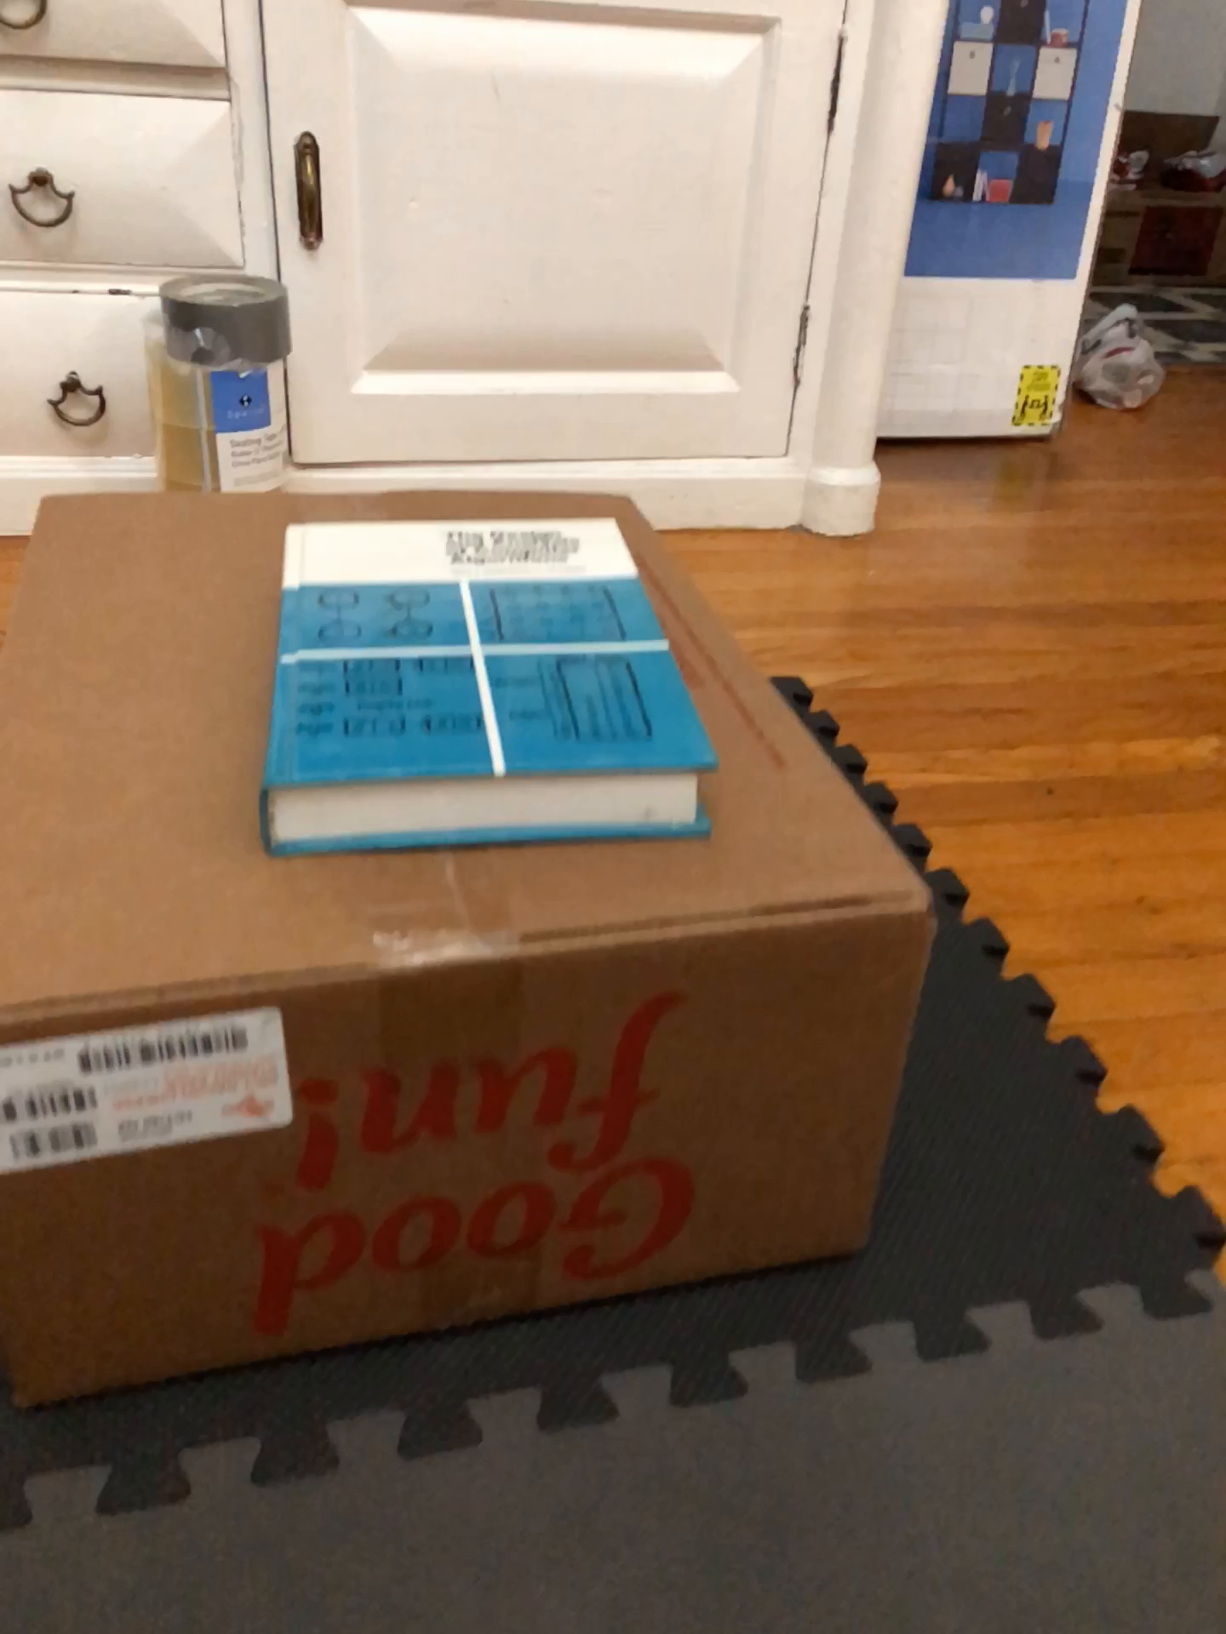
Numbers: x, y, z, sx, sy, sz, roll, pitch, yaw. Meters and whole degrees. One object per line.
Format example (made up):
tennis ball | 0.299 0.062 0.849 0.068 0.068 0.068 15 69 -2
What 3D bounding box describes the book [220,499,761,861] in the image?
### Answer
book | -0.060 -0.074 0.590 0.190 0.040 0.261 -1 33 -9
